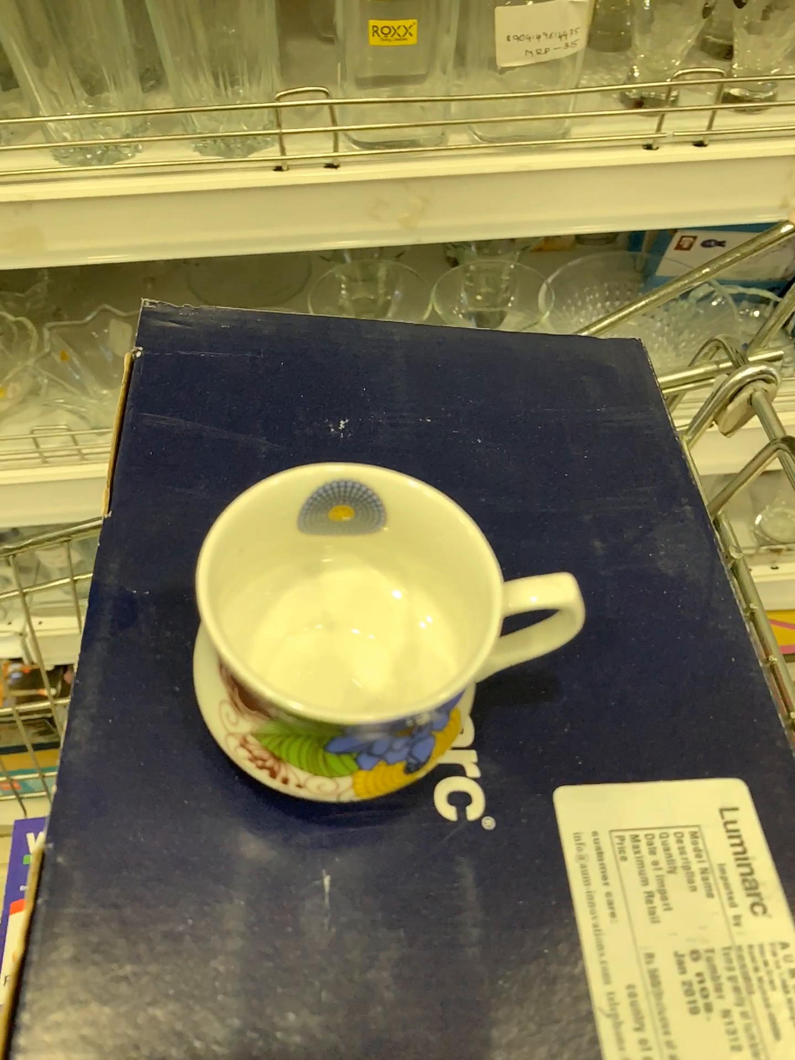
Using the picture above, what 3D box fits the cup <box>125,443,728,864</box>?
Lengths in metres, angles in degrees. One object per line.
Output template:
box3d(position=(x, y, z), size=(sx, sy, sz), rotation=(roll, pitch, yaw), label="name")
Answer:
box3d(position=(0.001, 0.023, 0.158), size=(0.090, 0.050, 0.060), rotation=(-1, 53, -8), label="cup")
